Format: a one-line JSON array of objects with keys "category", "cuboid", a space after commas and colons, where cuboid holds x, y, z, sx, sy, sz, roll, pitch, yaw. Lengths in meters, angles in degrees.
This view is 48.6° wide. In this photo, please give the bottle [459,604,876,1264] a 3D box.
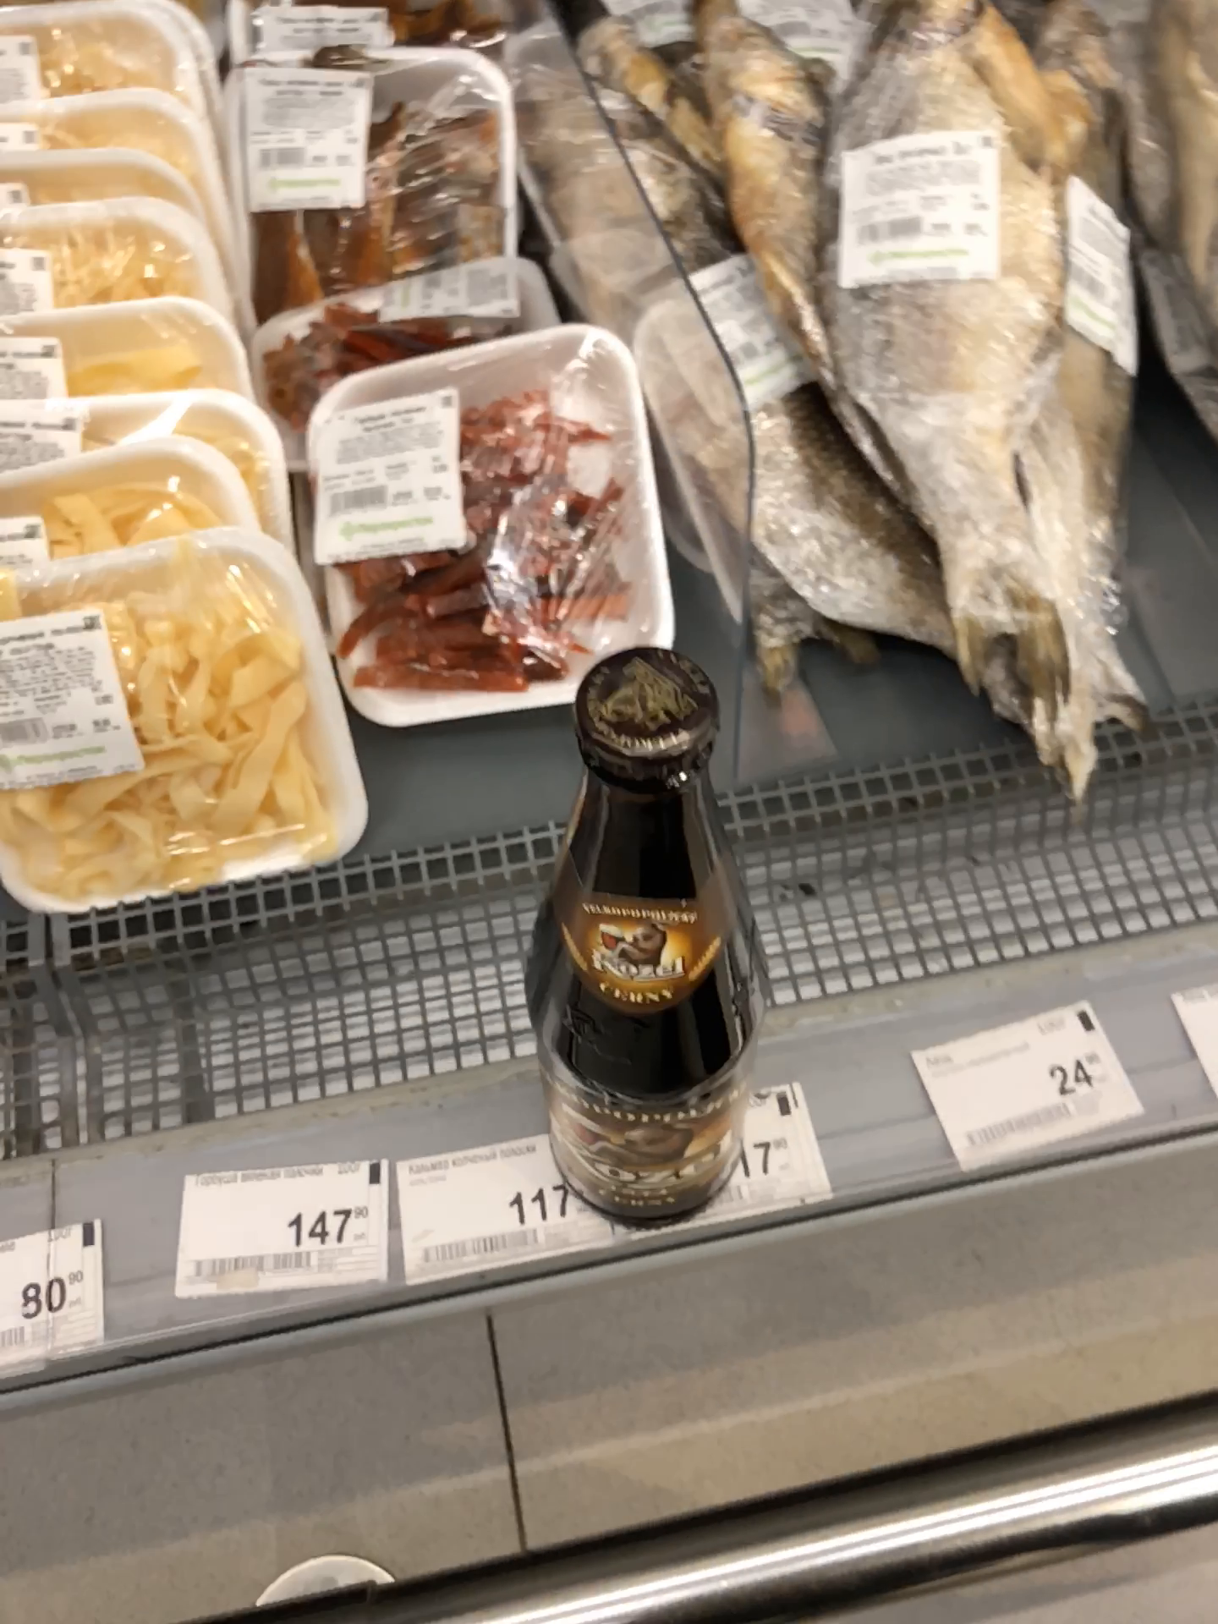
[{"category": "bottle", "cuboid": [0.013, 0.051, 0.343, 0.070, 0.231, 0.070, 0, 59, 0]}]
